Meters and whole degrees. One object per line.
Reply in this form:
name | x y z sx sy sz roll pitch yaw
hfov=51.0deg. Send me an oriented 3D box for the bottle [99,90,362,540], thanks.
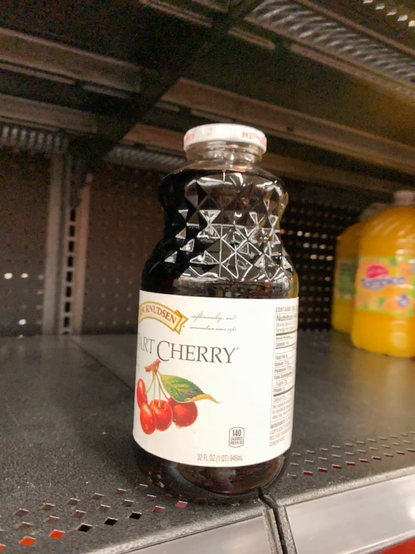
bottle | 0.013 0.016 0.267 0.110 0.200 0.100 4 2 0
